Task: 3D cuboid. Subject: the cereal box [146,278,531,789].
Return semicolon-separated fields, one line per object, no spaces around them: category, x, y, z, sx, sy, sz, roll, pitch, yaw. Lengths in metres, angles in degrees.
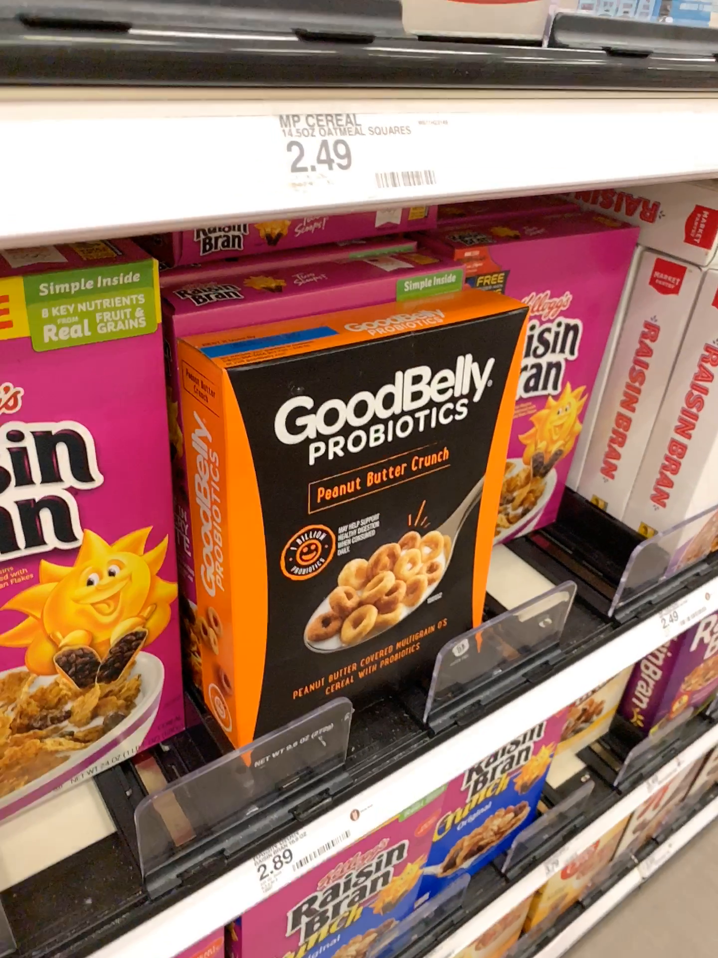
cereal box;-0.003;0.028;0.430;0.200;0.249;0.050;-19;35;-32
